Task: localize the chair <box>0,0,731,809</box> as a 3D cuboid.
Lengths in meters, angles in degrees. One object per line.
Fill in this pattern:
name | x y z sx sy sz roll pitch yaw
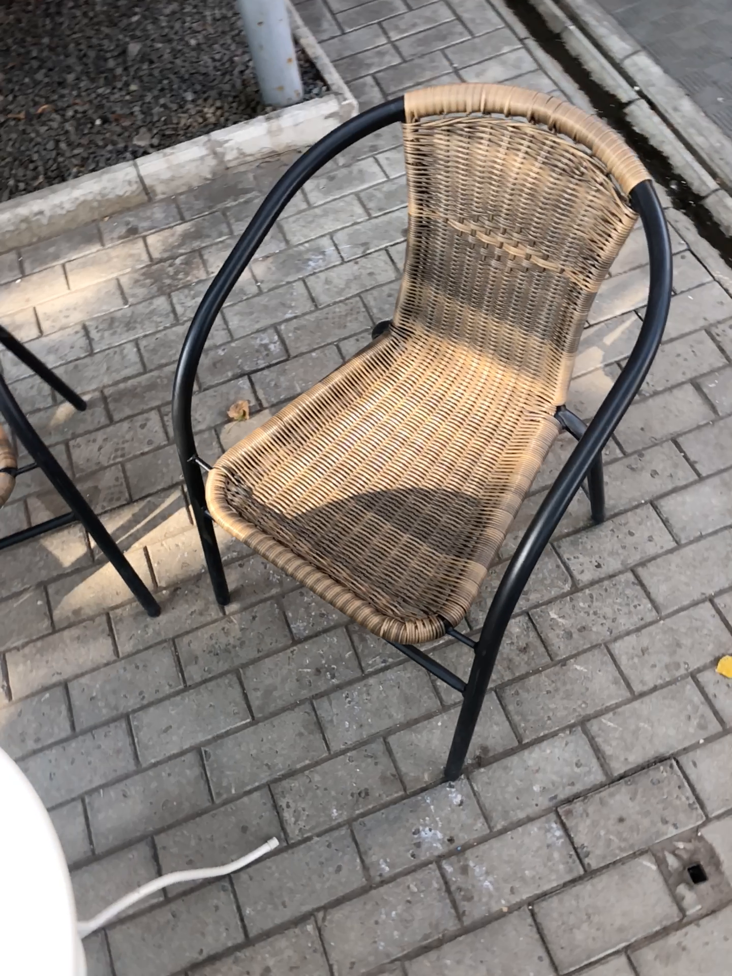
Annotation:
chair | 0.053 -0.070 1.010 0.541 0.669 0.591 33 70 23
